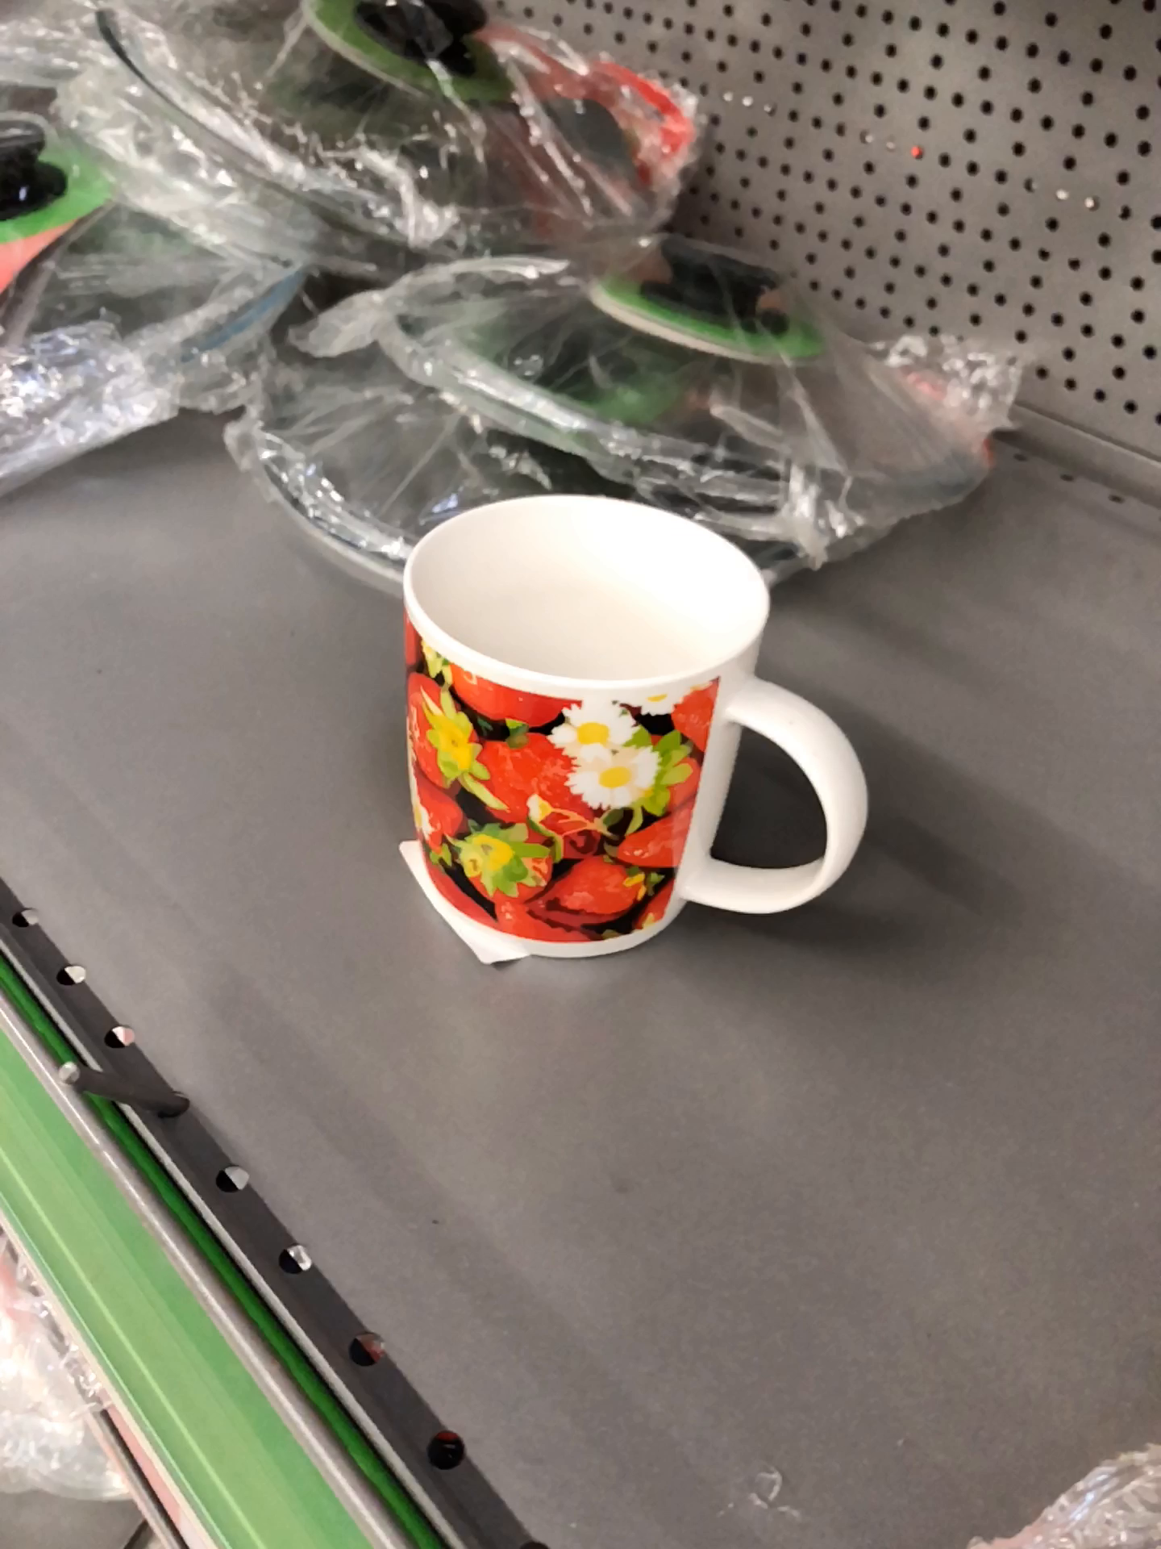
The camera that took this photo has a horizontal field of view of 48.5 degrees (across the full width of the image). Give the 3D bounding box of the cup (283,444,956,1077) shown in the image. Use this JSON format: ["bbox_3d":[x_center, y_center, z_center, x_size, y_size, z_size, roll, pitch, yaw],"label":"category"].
[{"bbox_3d":[0.006,-0.012,0.323,0.129,0.078,0.091,31,46,29],"label":"cup"}]
